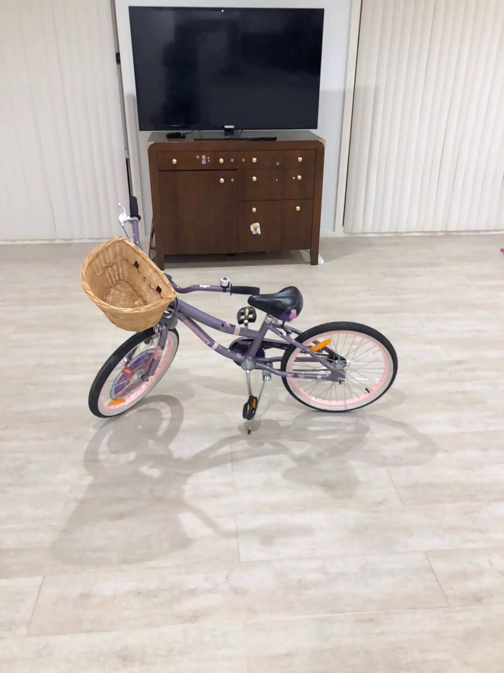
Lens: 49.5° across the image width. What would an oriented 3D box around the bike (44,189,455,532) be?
[{"bbox_3d":[-0.029,0.042,2.127,1.214,0.878,0.751,-7,27,-3],"label":"bike"}]
